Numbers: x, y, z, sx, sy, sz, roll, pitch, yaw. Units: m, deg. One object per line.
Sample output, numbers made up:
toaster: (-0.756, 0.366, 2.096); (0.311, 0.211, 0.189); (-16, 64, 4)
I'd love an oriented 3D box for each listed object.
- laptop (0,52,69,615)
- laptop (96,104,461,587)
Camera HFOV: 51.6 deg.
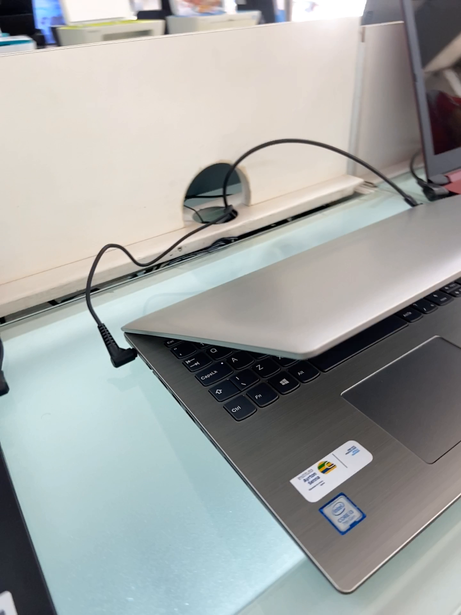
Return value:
laptop: (-0.342, 0.041, 0.178); (0.355, 0.211, 0.401); (-24, 38, -31)
laptop: (0.132, -0.041, 0.354); (0.370, 0.114, 0.247); (-23, 38, -26)
